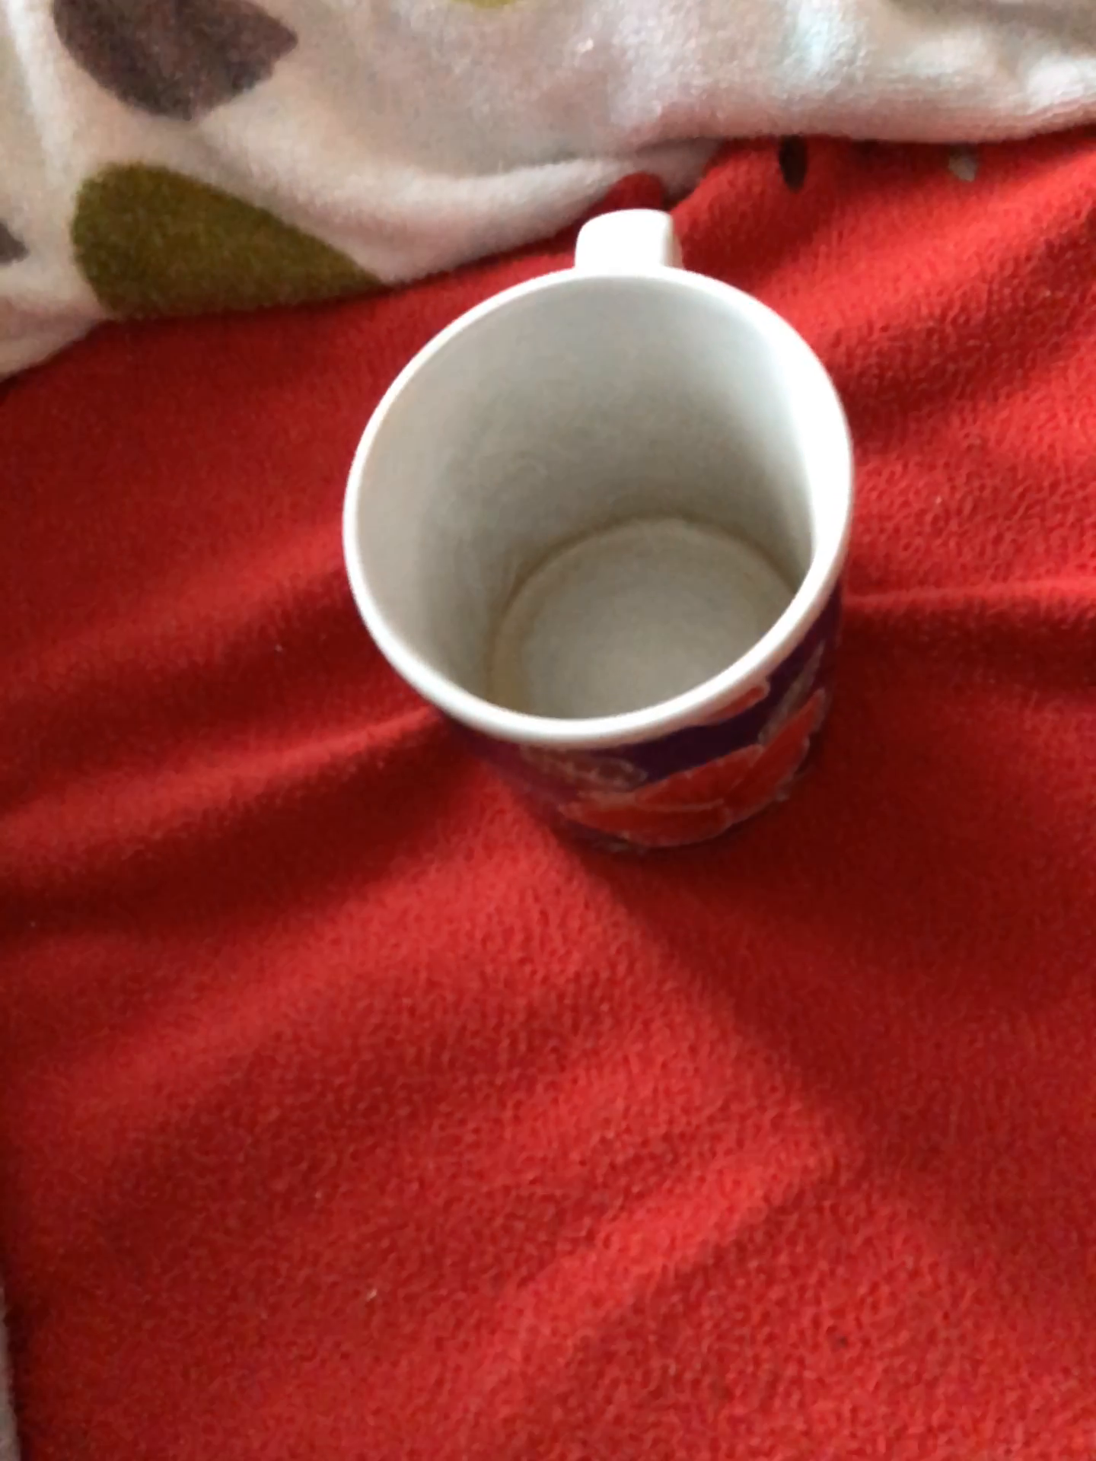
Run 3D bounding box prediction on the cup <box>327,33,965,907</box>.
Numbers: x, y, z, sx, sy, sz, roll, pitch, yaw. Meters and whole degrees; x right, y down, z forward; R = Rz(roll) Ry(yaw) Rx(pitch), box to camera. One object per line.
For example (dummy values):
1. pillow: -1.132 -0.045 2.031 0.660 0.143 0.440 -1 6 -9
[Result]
1. cup: 0.019 -0.040 0.236 0.090 0.100 0.120 -9 68 11
